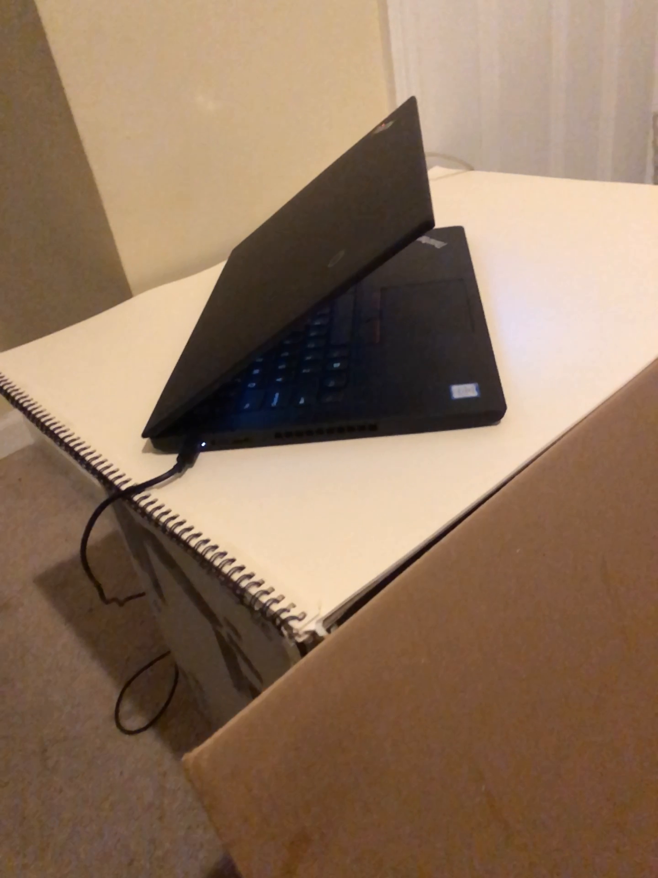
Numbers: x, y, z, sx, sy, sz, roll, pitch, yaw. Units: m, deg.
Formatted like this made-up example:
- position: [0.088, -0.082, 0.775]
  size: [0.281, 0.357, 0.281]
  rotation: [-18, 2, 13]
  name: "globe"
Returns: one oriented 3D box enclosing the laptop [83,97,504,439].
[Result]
- position: [-0.005, -0.148, 0.547]
  size: [0.226, 0.115, 0.319]
  rotation: [-5, 35, 9]
  name: "laptop"
